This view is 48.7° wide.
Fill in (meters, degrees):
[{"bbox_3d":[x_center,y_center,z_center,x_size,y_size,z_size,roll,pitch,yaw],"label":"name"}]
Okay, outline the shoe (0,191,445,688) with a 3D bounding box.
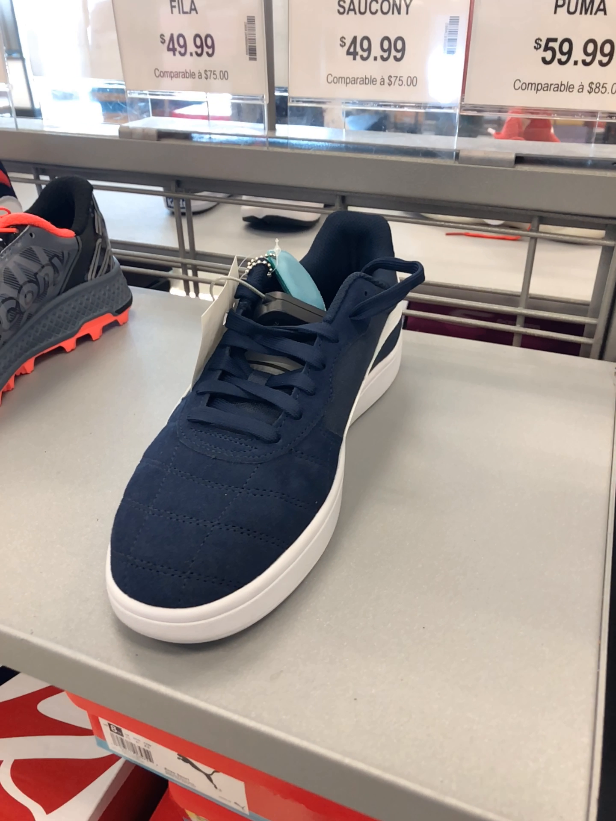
[{"bbox_3d":[-0.021,-0.016,0.341,0.119,0.119,0.242,11,33,19],"label":"shoe"}]
